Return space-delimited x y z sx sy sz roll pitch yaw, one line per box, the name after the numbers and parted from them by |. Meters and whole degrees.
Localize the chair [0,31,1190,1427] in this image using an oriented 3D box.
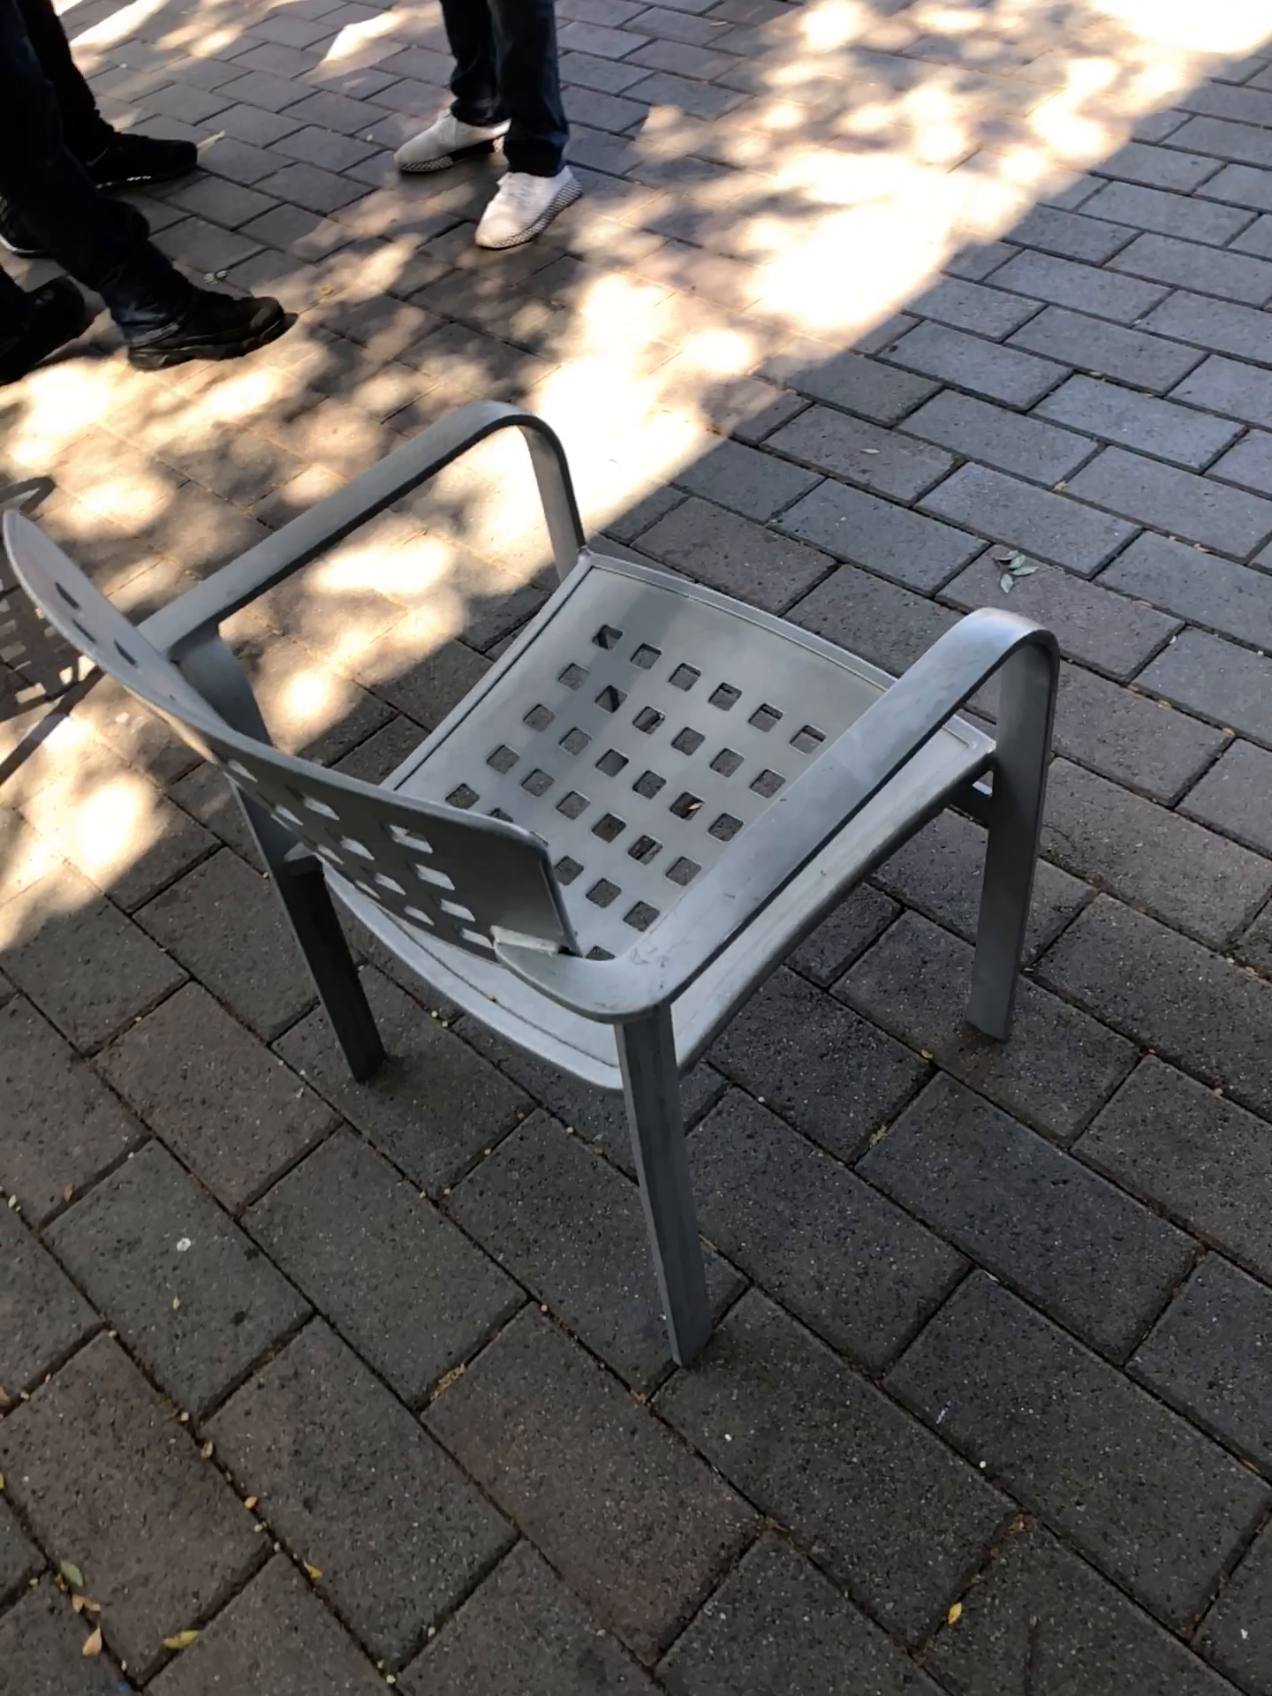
-0.041 -0.092 1.152 0.632 0.777 0.591 31 63 32 | chair
